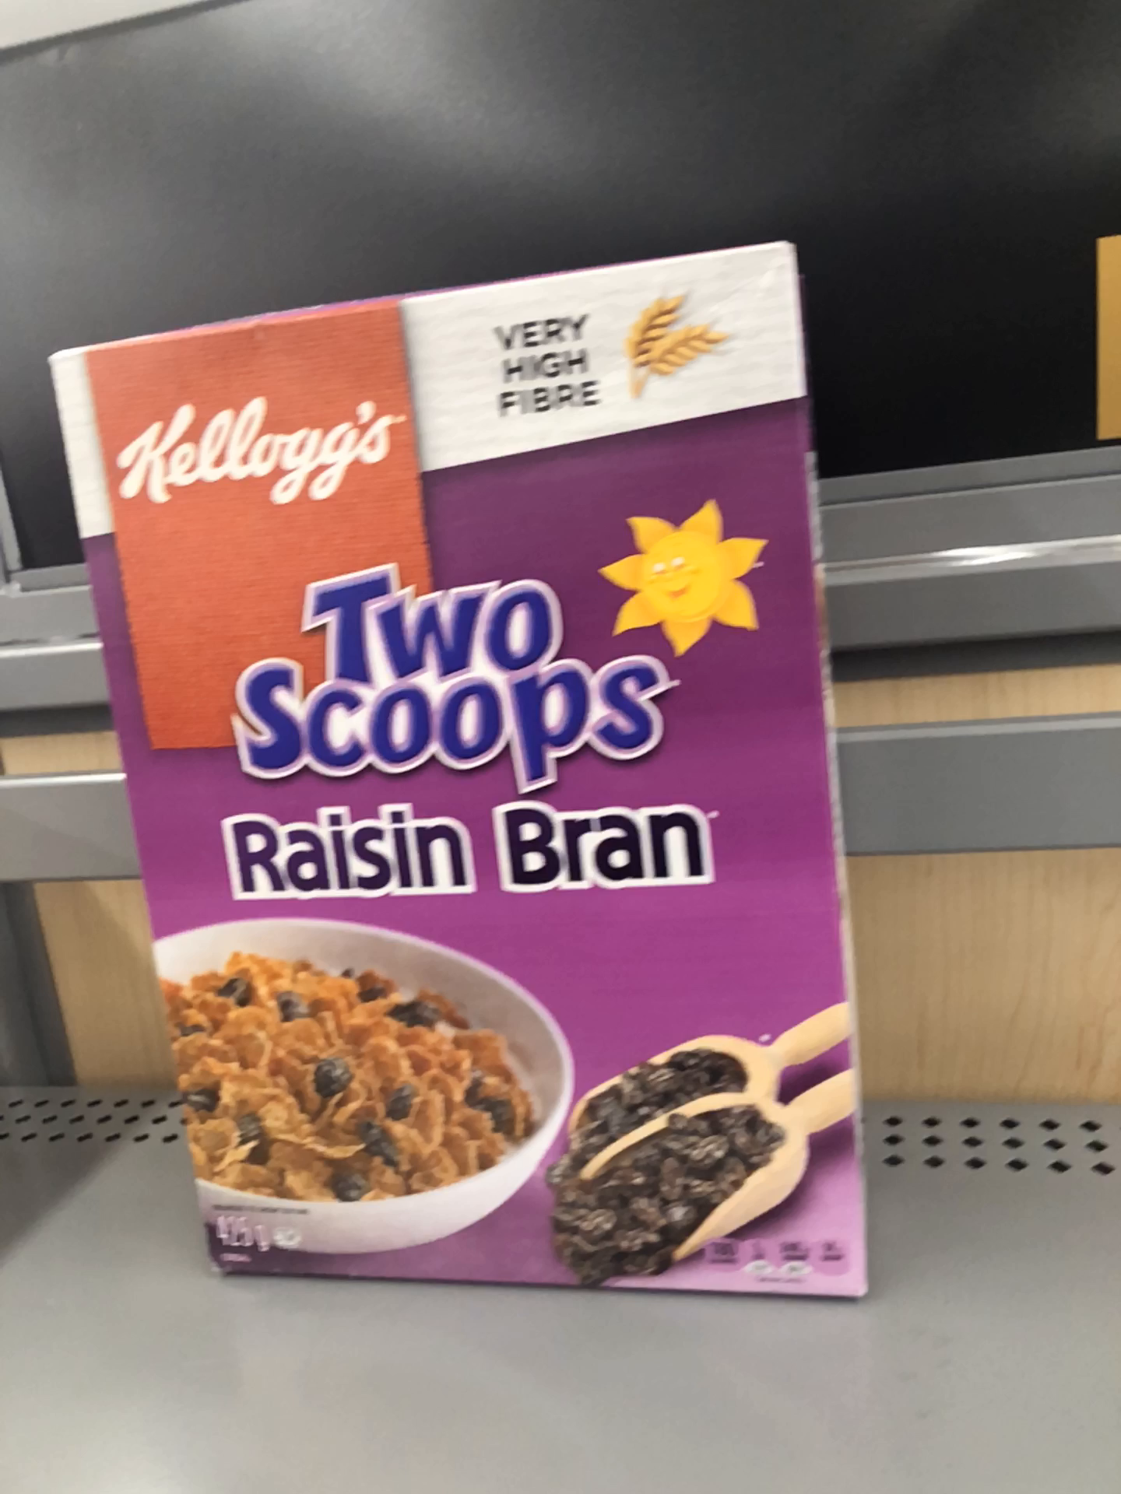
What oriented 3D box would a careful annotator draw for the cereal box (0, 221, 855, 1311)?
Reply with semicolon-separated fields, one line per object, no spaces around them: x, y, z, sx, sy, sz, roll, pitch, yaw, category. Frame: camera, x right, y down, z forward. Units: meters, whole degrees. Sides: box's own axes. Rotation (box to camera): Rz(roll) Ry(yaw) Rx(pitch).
-0.034;0.016;0.348;0.210;0.269;0.050;-4;10;14;cereal box
